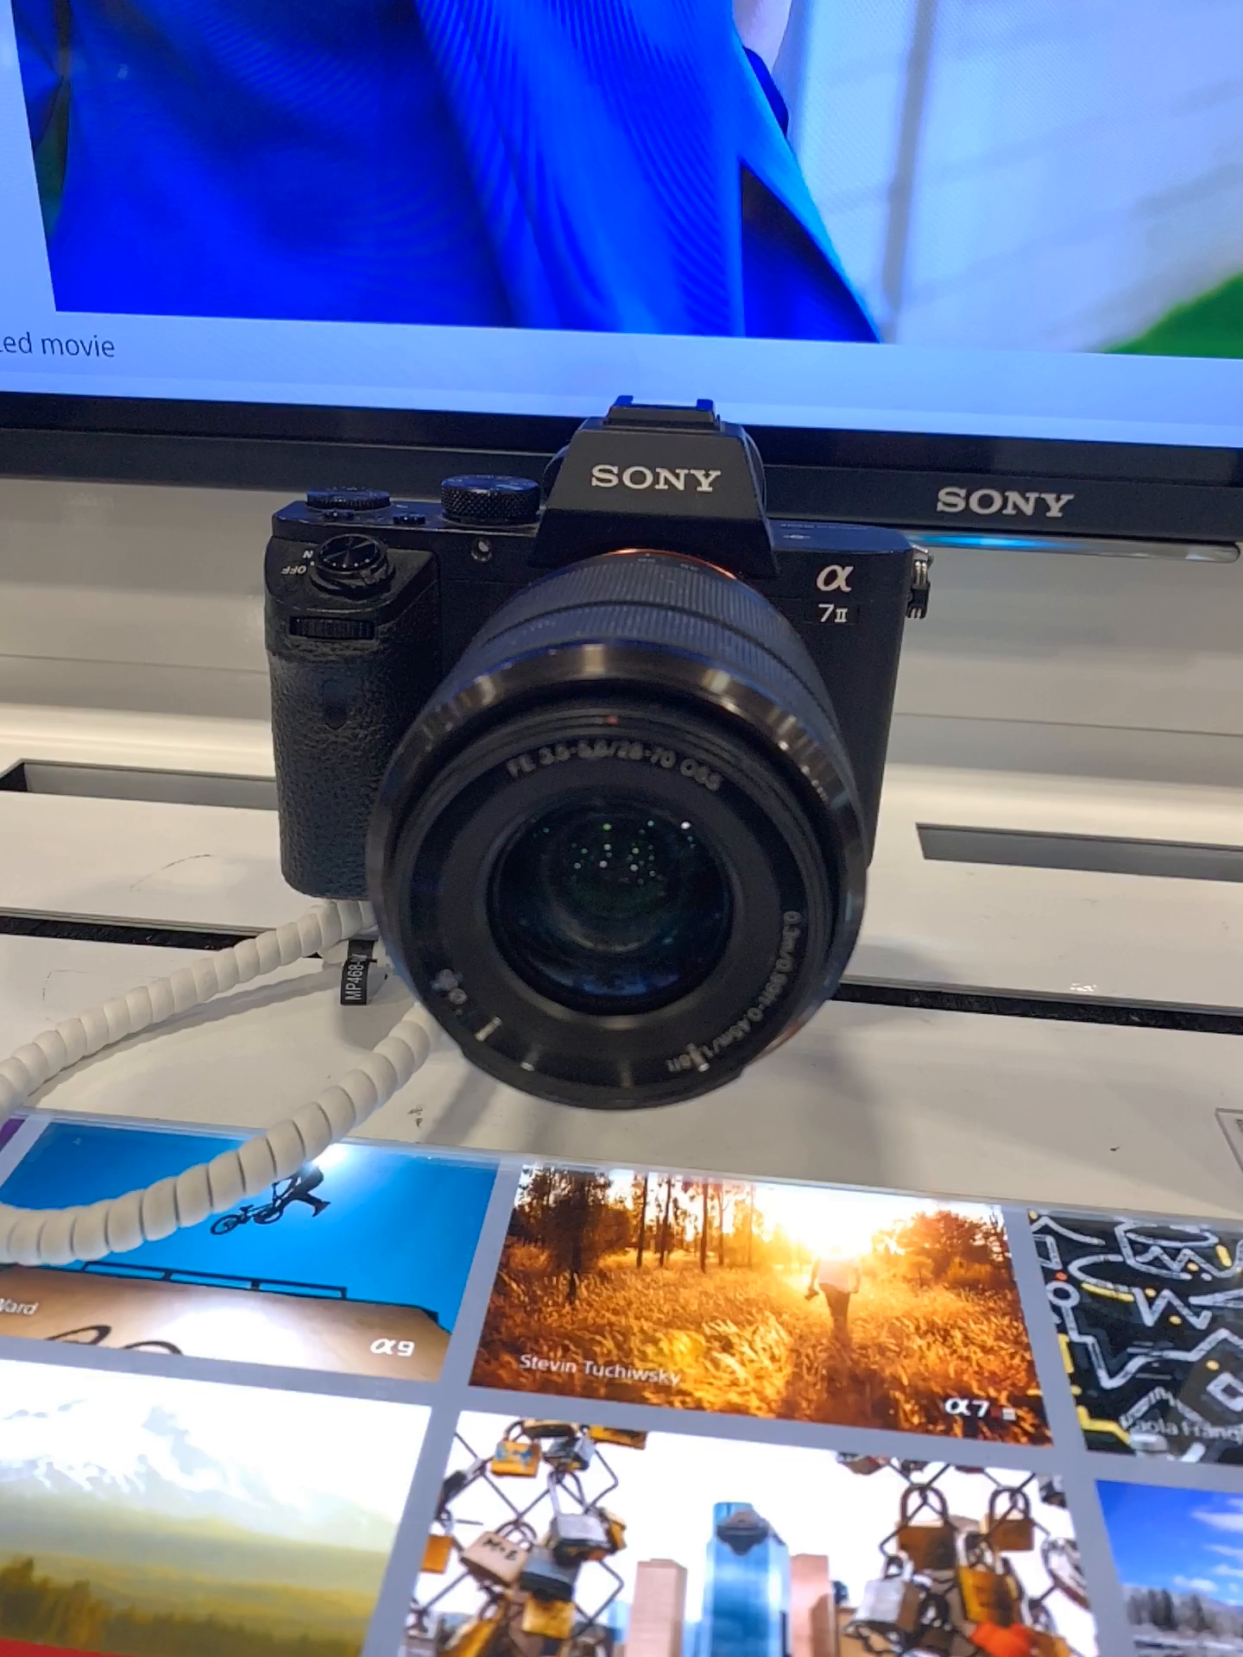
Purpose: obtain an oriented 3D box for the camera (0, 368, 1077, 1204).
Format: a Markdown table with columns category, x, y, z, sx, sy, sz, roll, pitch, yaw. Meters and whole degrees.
| category | x | y | z | sx | sy | sz | roll | pitch | yaw |
| --- | --- | --- | --- | --- | --- | --- | --- | --- | --- |
| camera | -0.010 | -0.024 | 0.226 | 0.130 | 0.090 | 0.142 | 3 | 25 | 5 |
